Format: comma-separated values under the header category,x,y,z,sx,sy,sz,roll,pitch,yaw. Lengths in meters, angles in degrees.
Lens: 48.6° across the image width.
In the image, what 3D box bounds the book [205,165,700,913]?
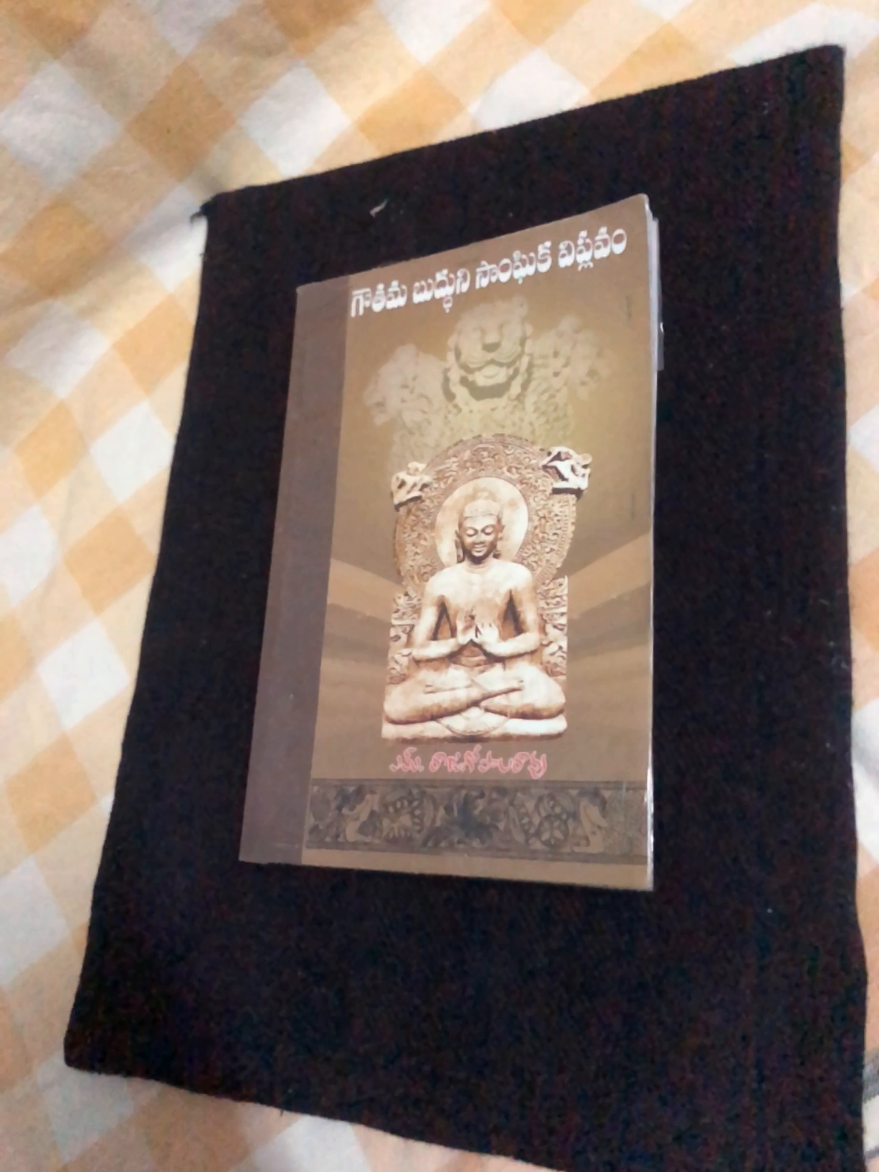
category,x,y,z,sx,sy,sz,roll,pitch,yaw
book,0.007,-0.020,0.321,0.150,0.020,0.230,-3,71,25
